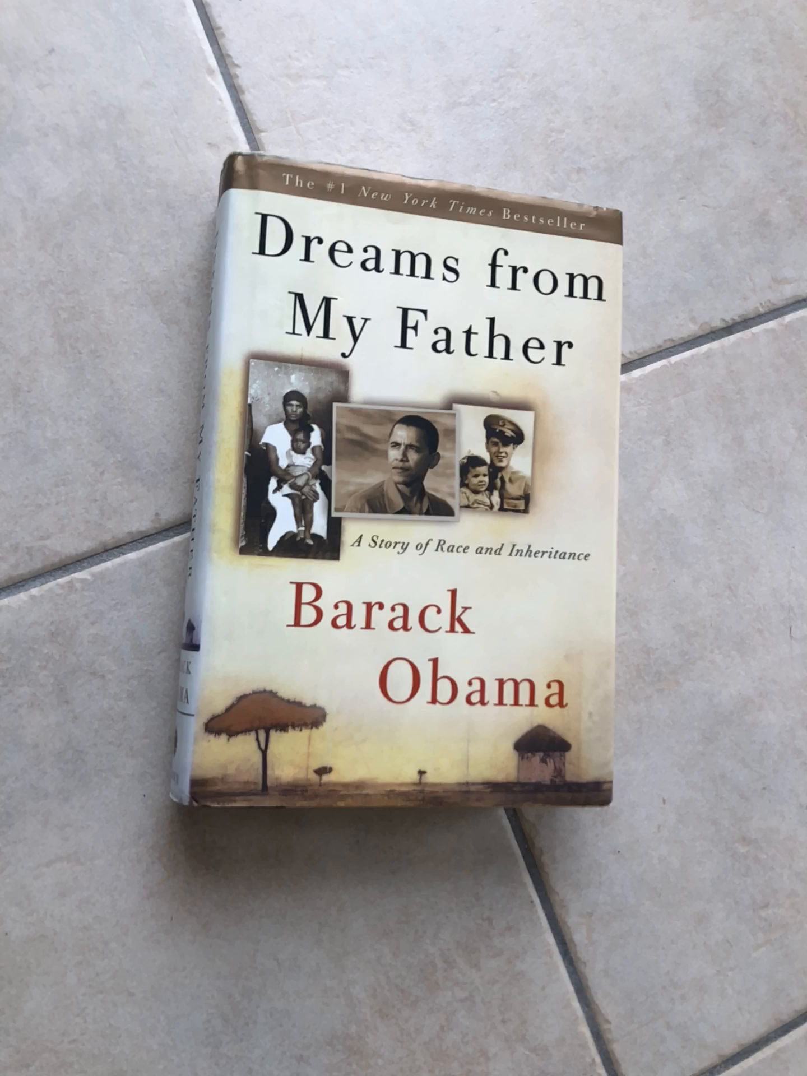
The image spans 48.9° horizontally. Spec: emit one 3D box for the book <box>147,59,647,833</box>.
[{"bbox_3d":[0.002,-0.030,0.348,0.170,0.050,0.270,5,84,-12],"label":"book"}]
